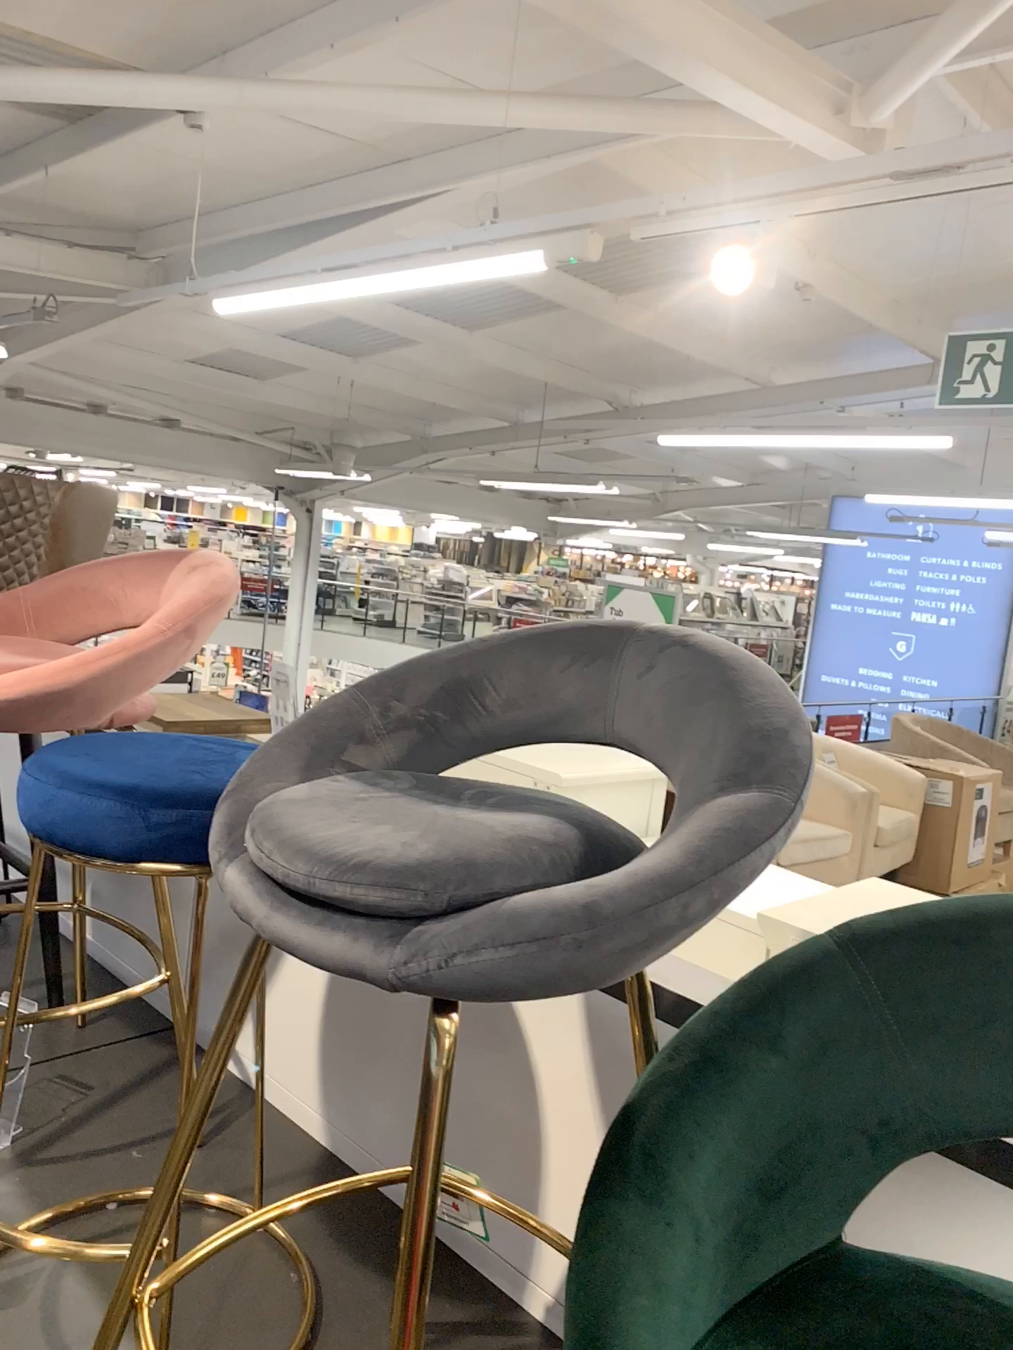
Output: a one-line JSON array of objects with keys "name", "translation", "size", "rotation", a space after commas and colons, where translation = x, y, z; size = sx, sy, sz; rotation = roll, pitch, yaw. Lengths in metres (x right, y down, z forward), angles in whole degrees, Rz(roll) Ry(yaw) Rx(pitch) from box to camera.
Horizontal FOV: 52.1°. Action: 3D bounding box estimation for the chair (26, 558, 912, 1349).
[{"name": "chair", "translation": [-0.047, 0.375, 0.912], "size": [0.487, 0.872, 0.474], "rotation": [12, 7, 43]}]
